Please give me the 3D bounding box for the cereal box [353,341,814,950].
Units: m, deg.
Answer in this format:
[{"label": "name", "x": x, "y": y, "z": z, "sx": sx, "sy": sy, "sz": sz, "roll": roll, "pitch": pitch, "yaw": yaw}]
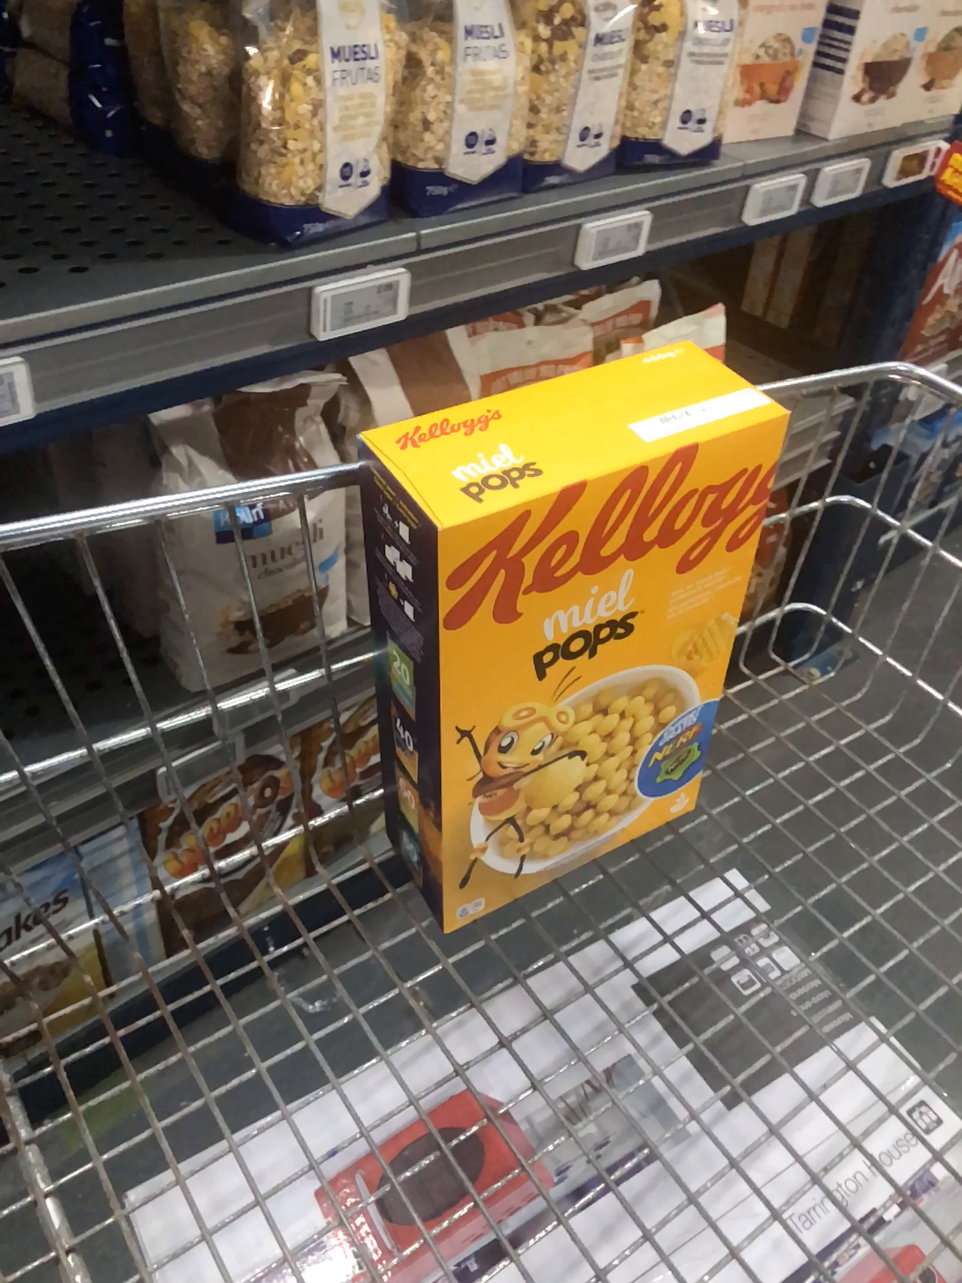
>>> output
[{"label": "cereal box", "x": 0.047, "y": 0.007, "z": 0.580, "sx": 0.200, "sy": 0.279, "sz": 0.090, "roll": -22, "pitch": 45, "yaw": -26}]
